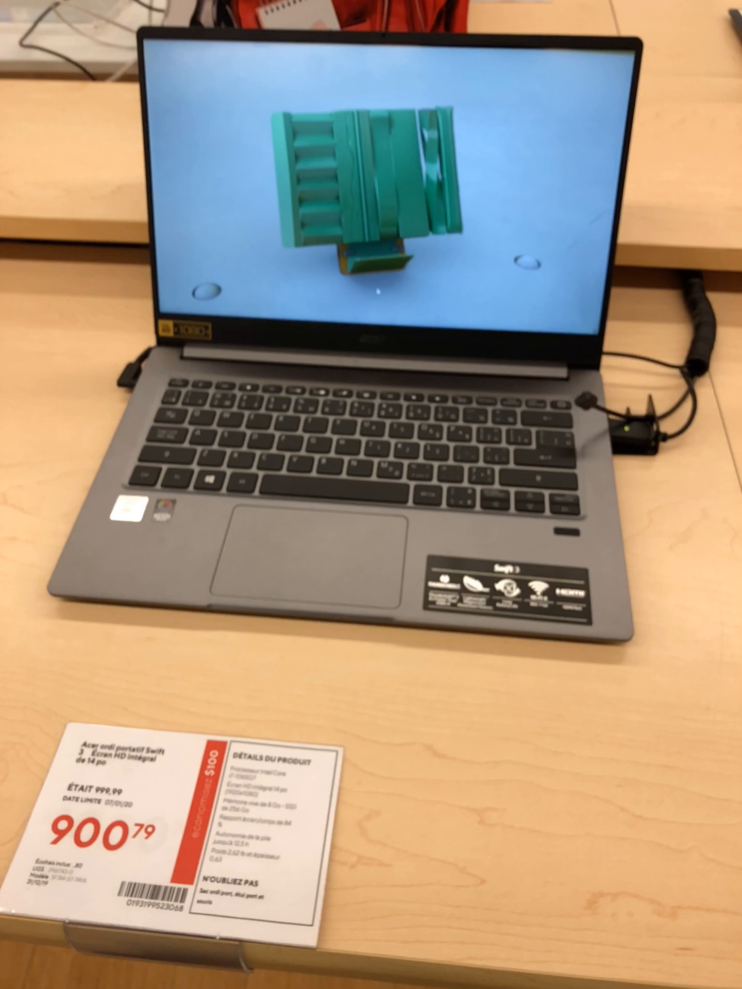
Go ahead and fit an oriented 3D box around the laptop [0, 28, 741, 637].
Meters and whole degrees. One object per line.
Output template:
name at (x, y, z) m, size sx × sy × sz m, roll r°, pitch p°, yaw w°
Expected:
laptop at (-0.006, -0.112, 0.480) m, size 0.315 × 0.177 × 0.312 m, roll 4°, pitch 49°, yaw 4°
